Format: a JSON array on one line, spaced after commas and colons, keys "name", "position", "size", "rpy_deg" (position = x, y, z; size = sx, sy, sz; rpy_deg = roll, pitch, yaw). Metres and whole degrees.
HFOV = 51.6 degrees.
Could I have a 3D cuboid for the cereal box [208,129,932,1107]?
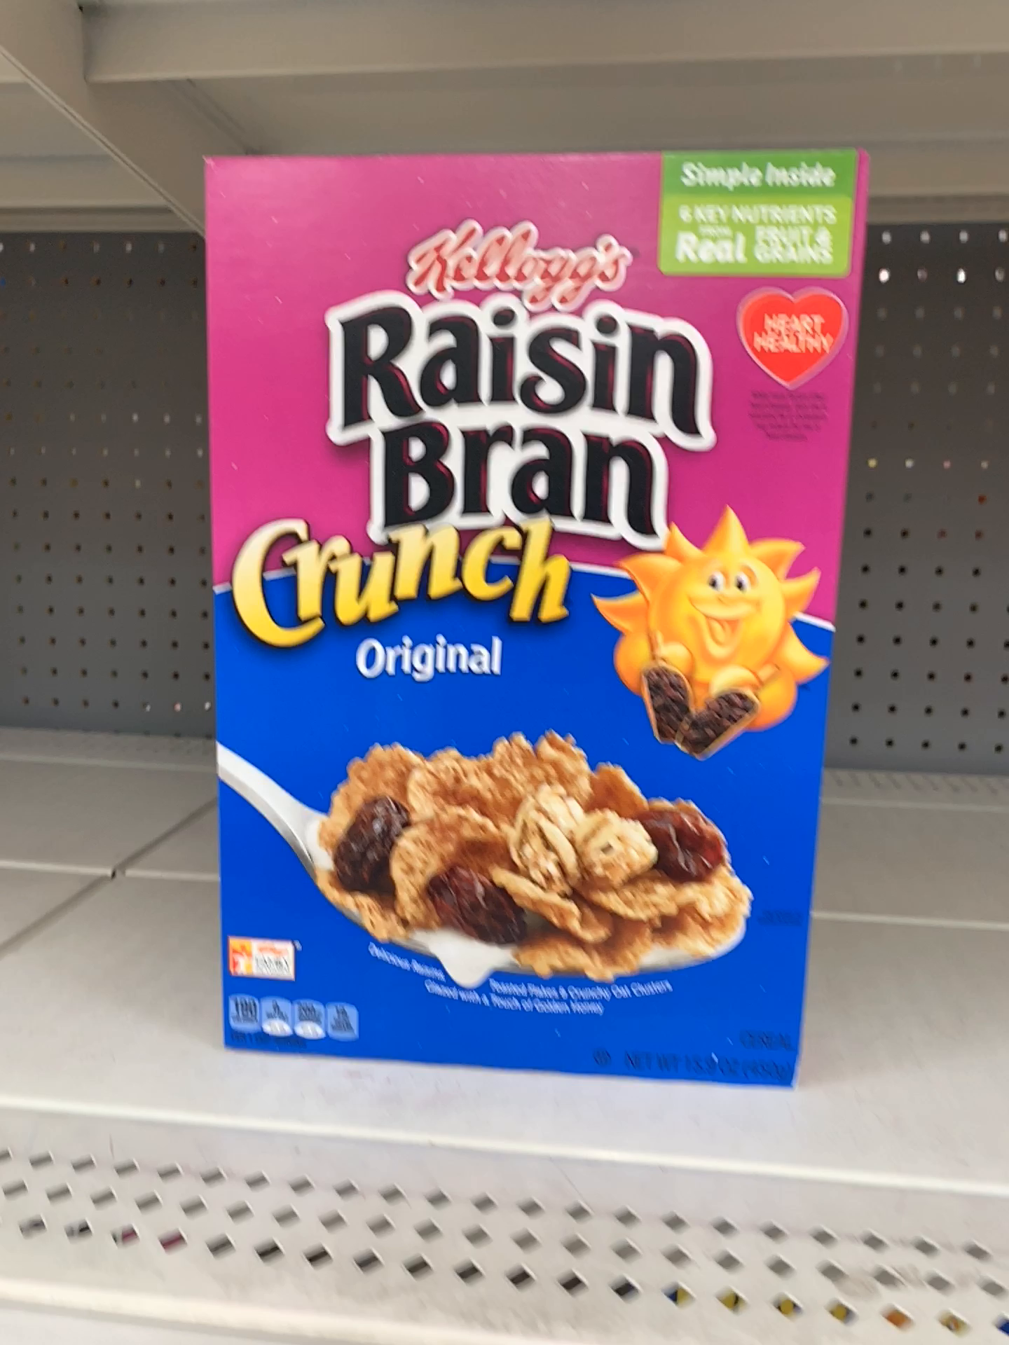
[{"name": "cereal box", "position": [0.015, -0.013, 0.334], "size": [0.200, 0.279, 0.050], "rpy_deg": [2, 9, 7]}]
